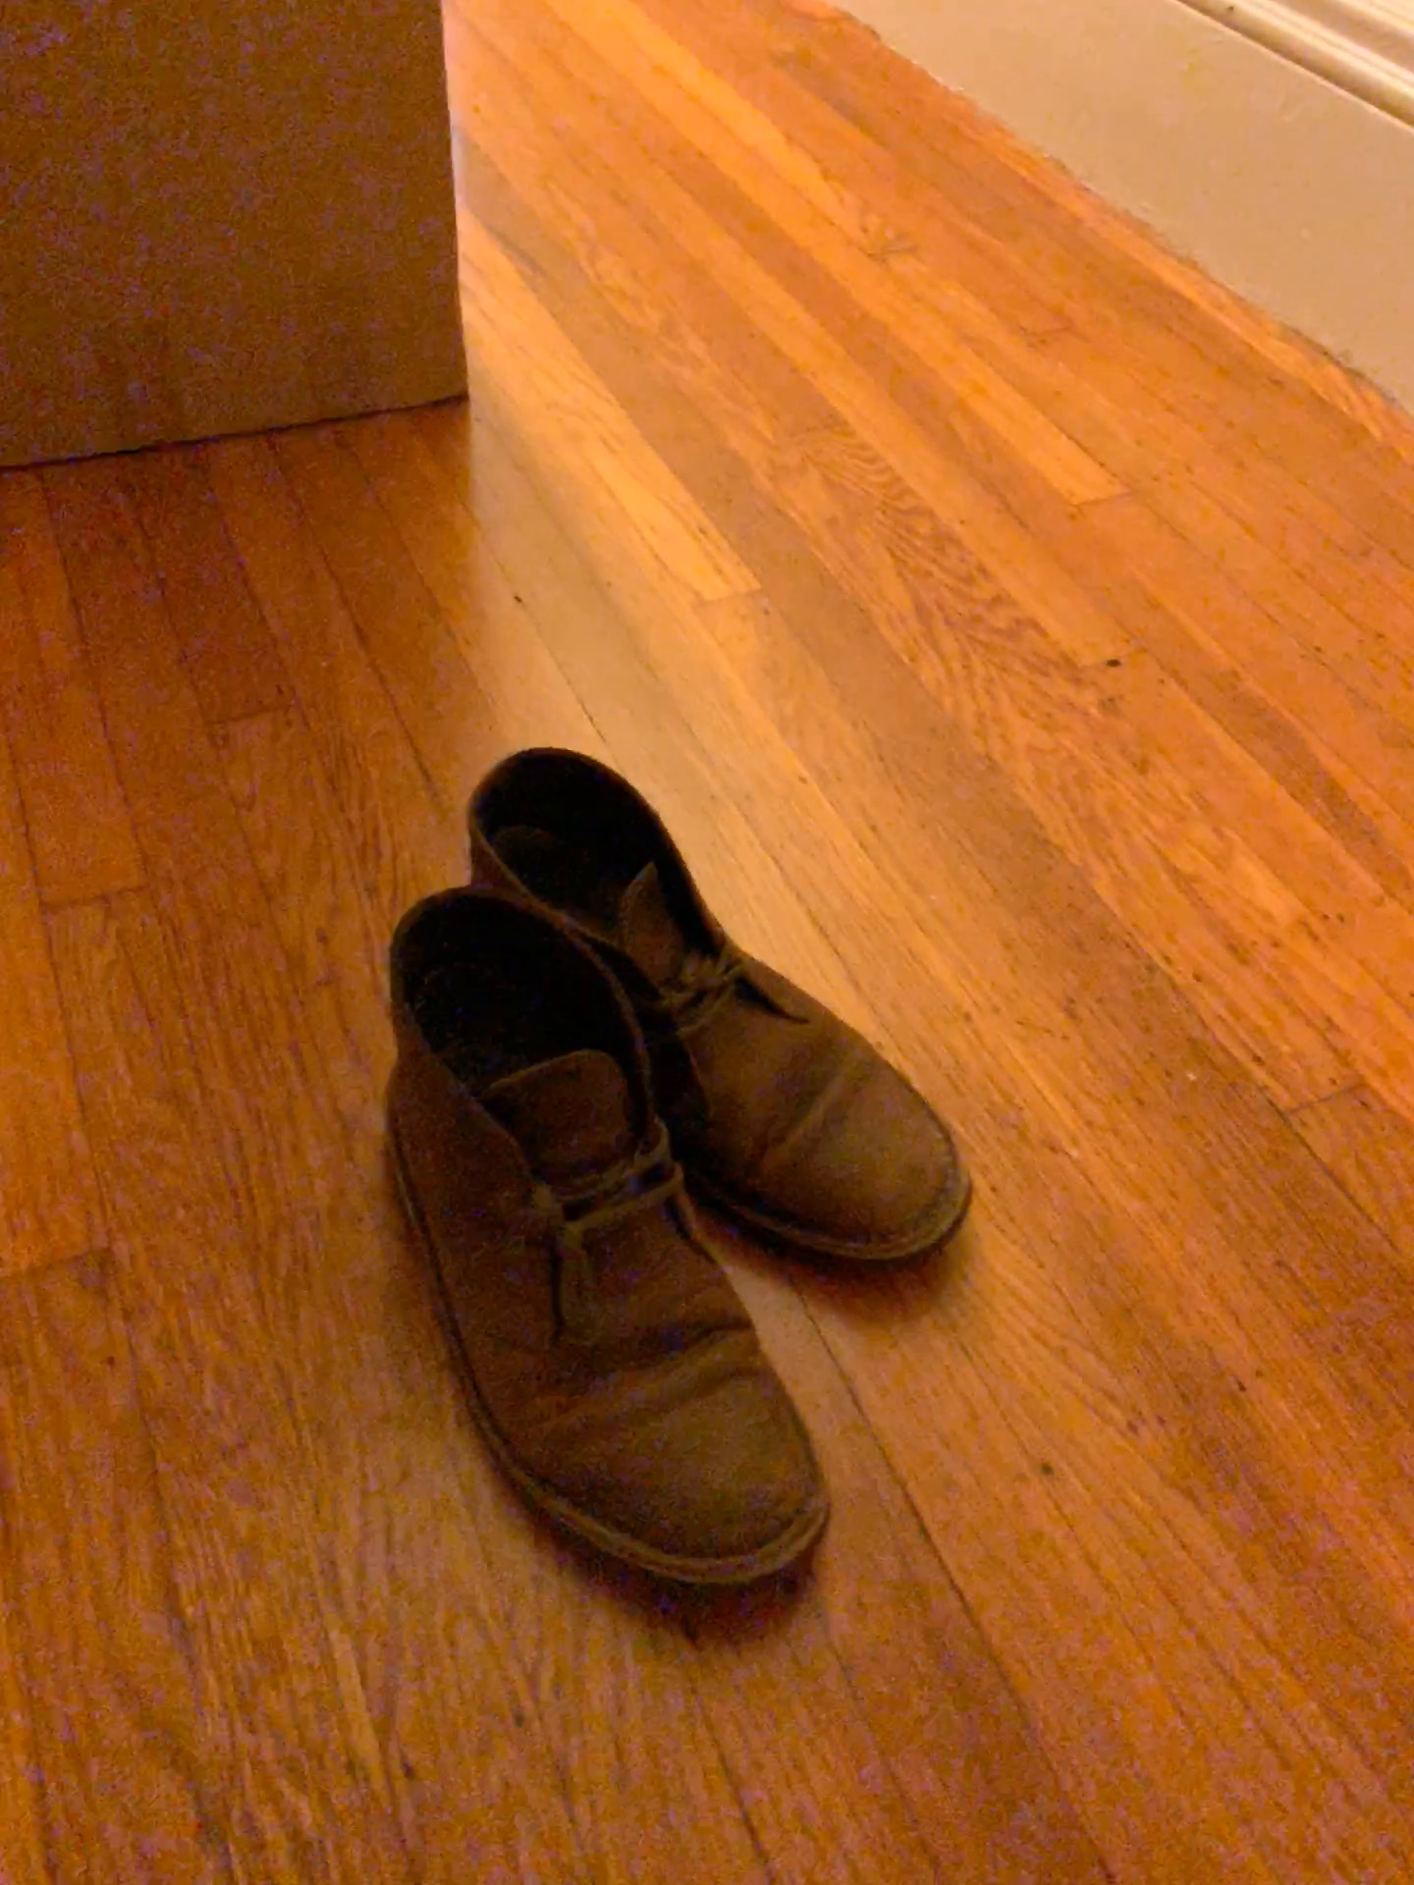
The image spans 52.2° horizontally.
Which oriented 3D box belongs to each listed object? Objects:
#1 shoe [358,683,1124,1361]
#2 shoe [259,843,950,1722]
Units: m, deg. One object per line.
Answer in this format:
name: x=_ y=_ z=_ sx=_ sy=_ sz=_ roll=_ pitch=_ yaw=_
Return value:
shoe: x=0.005 y=0.024 z=0.632 sx=0.301 sy=0.119 sz=0.120 roll=31 pitch=53 yaw=22
shoe: x=-0.054 y=0.114 z=0.559 sx=0.120 sy=0.119 sz=0.291 roll=-23 pitch=54 yaw=-23
